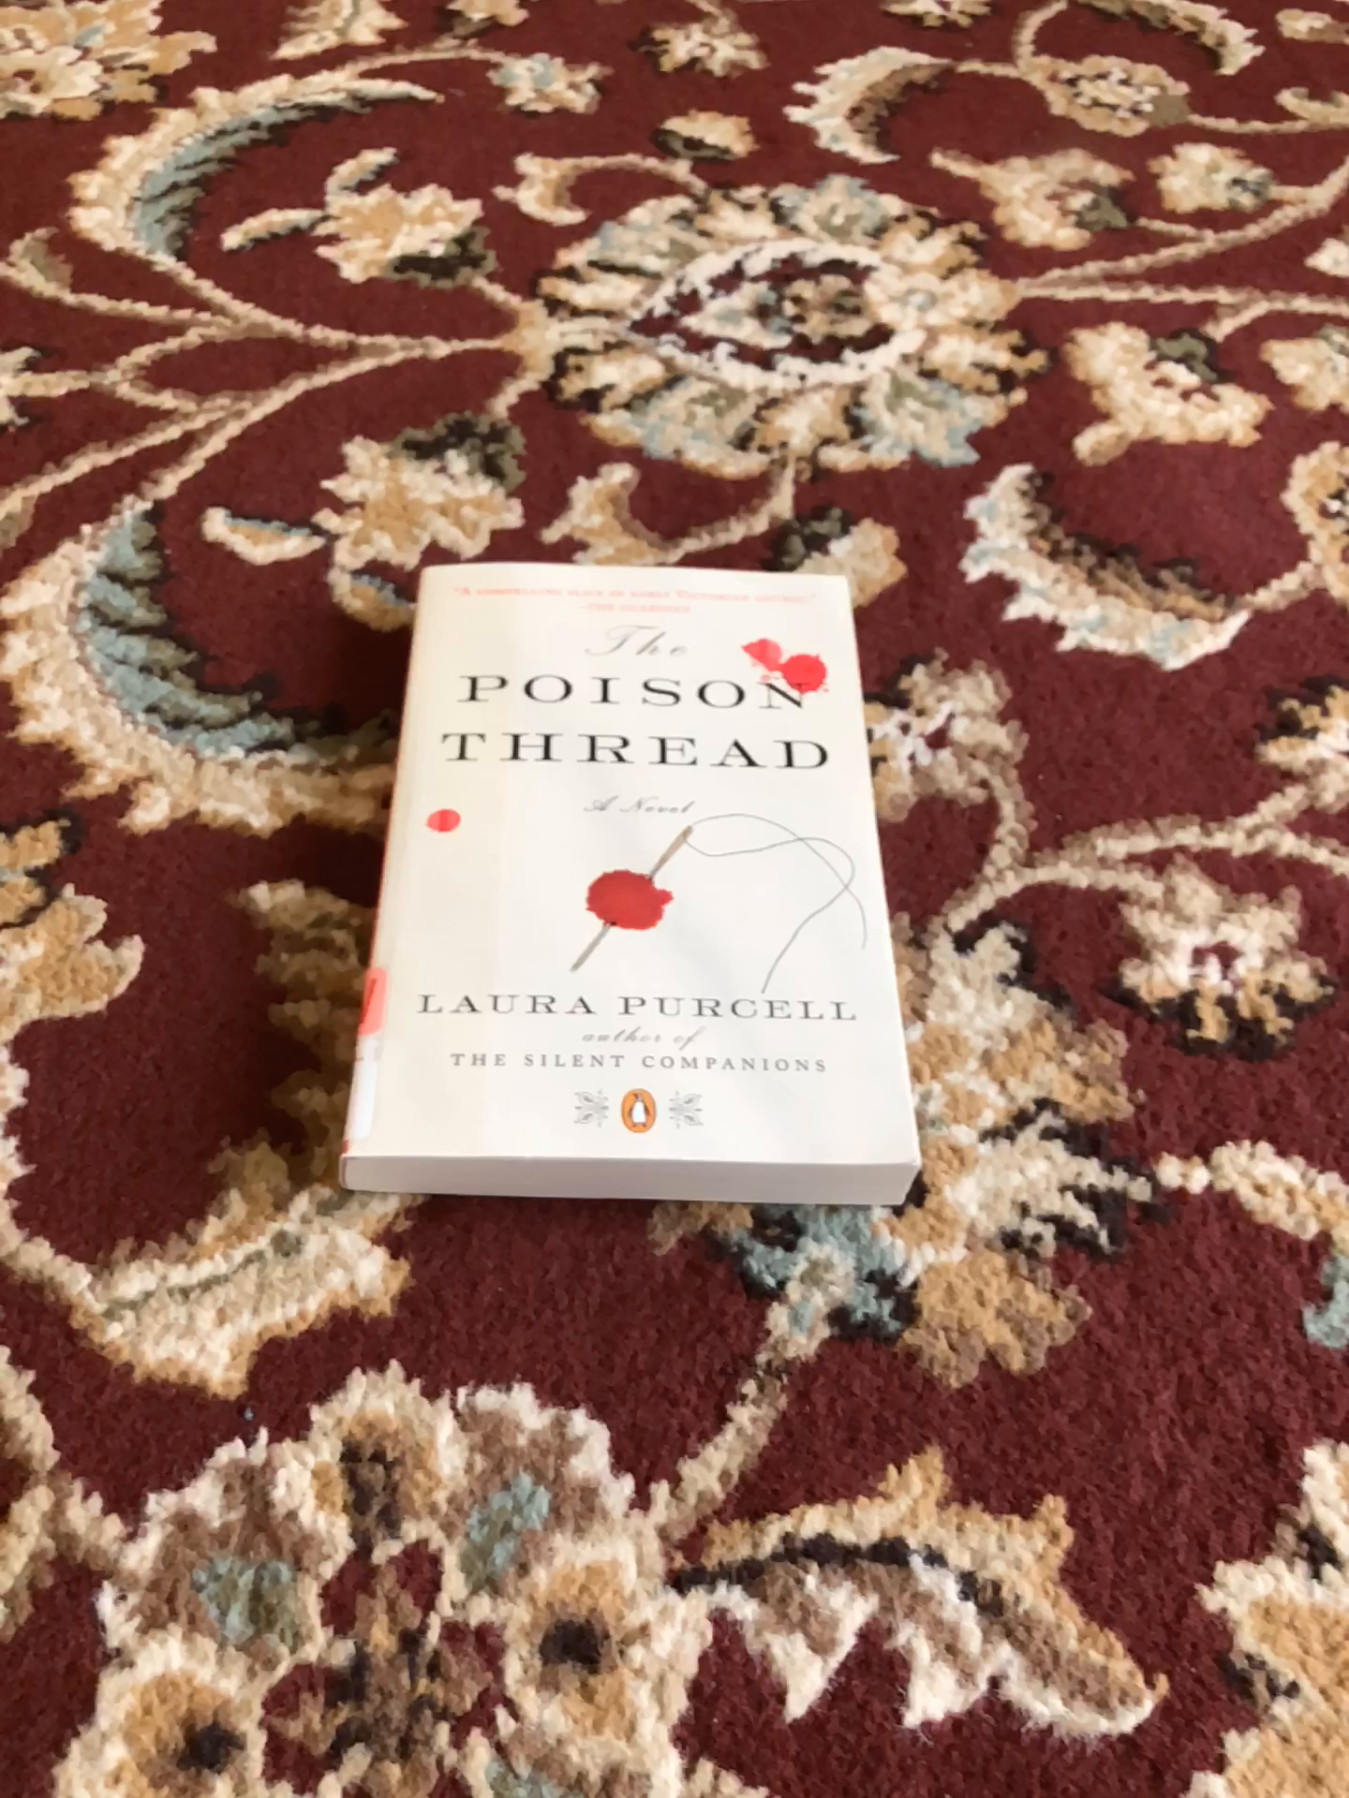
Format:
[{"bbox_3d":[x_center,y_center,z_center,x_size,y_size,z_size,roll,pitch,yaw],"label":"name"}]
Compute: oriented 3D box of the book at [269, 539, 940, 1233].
[{"bbox_3d":[-0.017,-0.014,0.386,0.140,0.030,0.200,1,53,-3],"label":"book"}]
